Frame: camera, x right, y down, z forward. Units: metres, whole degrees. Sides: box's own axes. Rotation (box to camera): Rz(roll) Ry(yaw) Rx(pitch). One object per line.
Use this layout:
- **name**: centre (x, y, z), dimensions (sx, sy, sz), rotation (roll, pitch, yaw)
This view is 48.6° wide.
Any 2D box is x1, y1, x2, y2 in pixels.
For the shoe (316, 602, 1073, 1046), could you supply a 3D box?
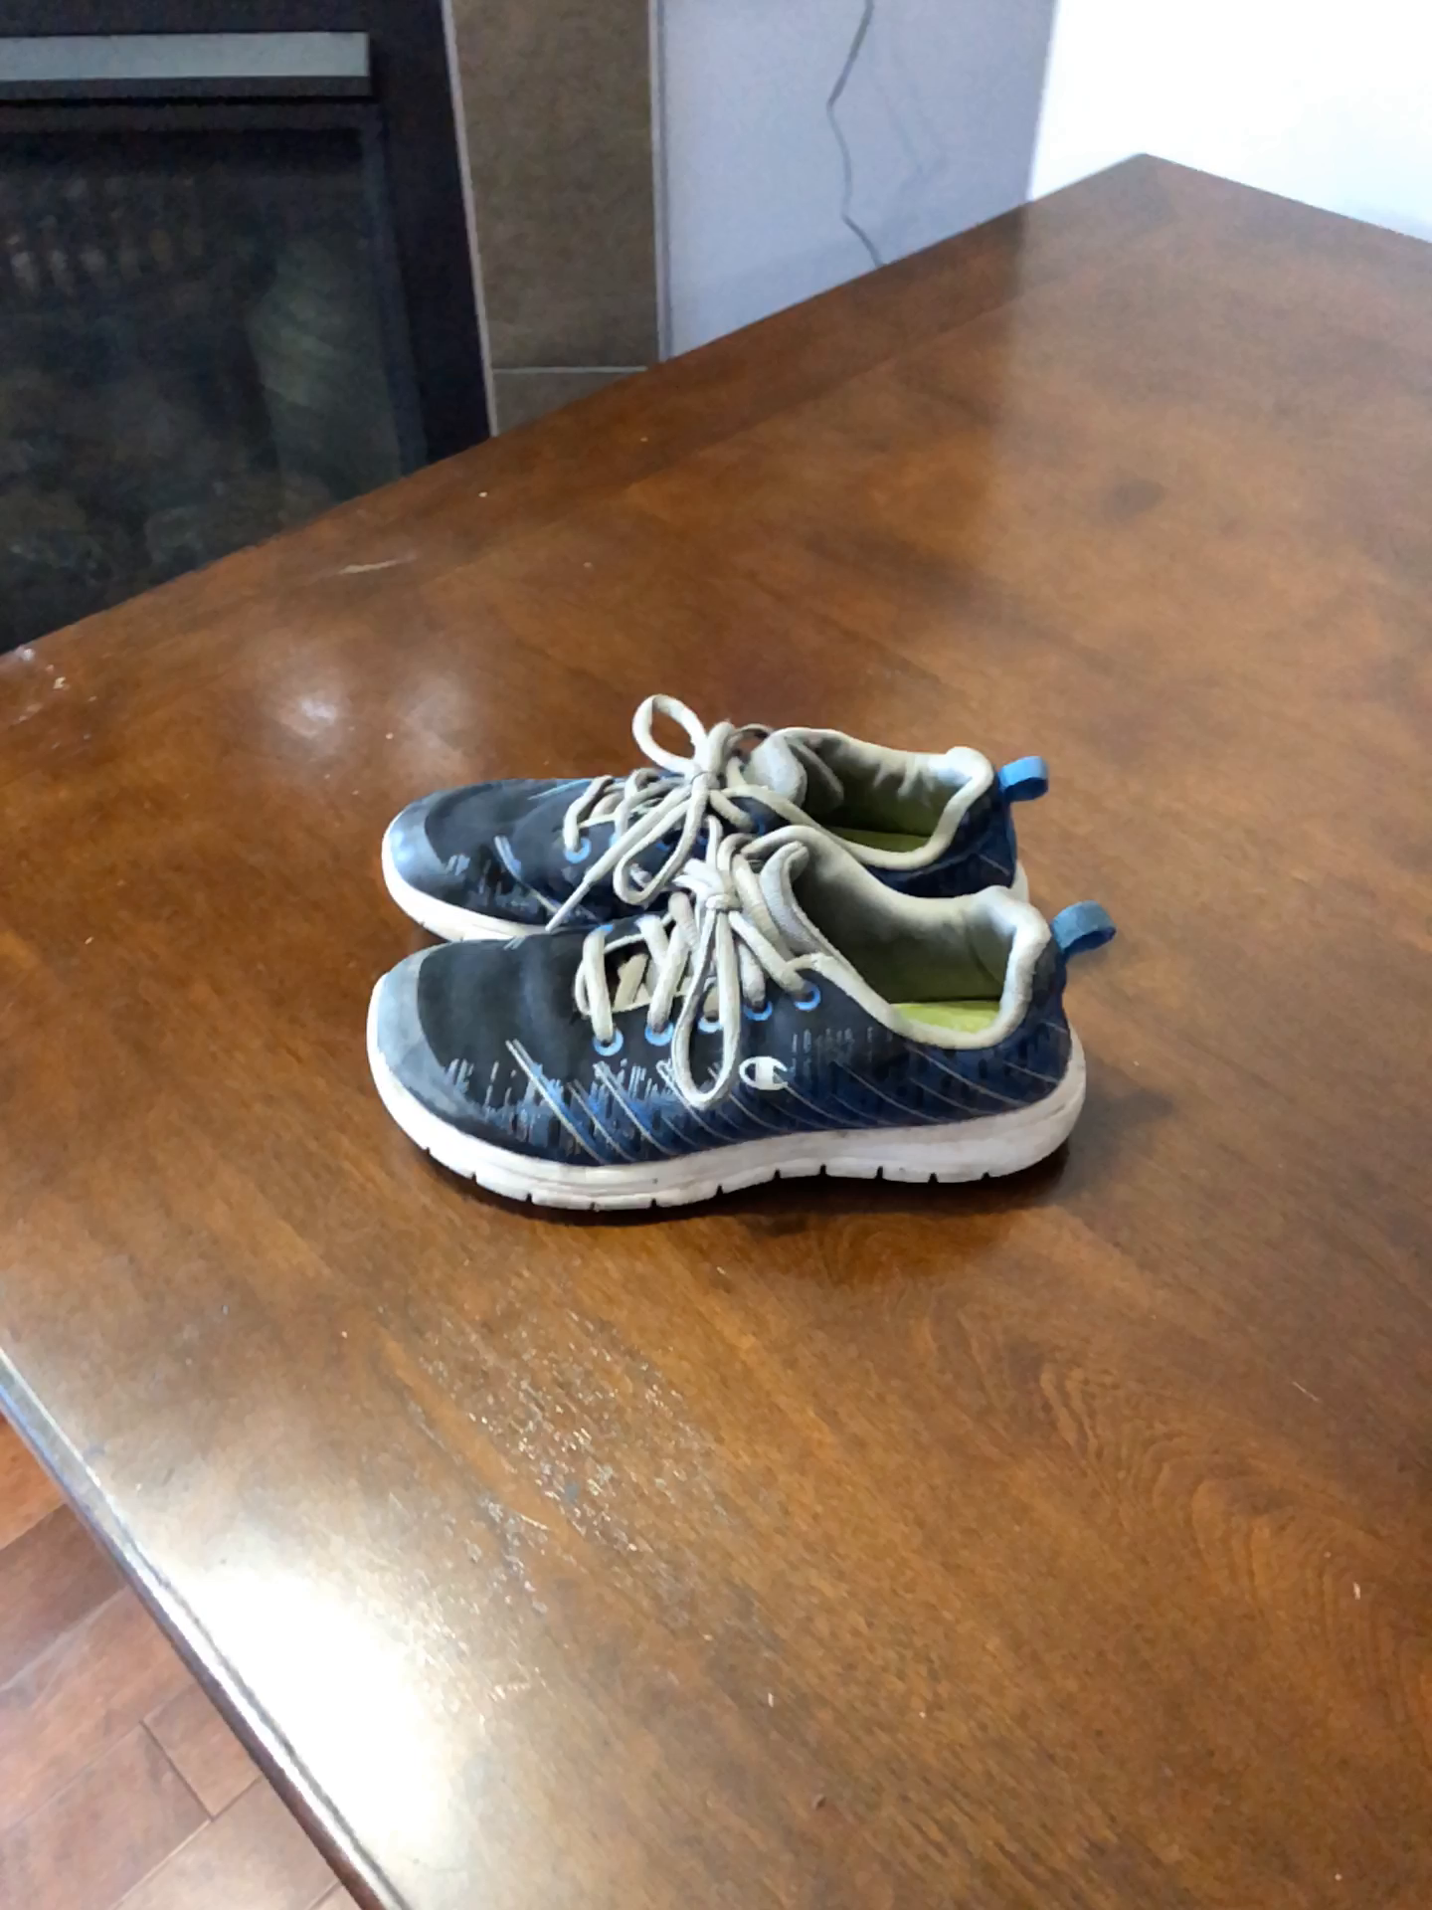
- **shoe**: centre (-0.003, -0.045, 0.526), dimensions (0.220, 0.090, 0.100), rotation (4, 46, 4)

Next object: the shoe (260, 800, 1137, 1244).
- **shoe**: centre (-0.005, 0.020, 0.483), dimensions (0.230, 0.090, 0.100), rotation (0, 46, 0)
